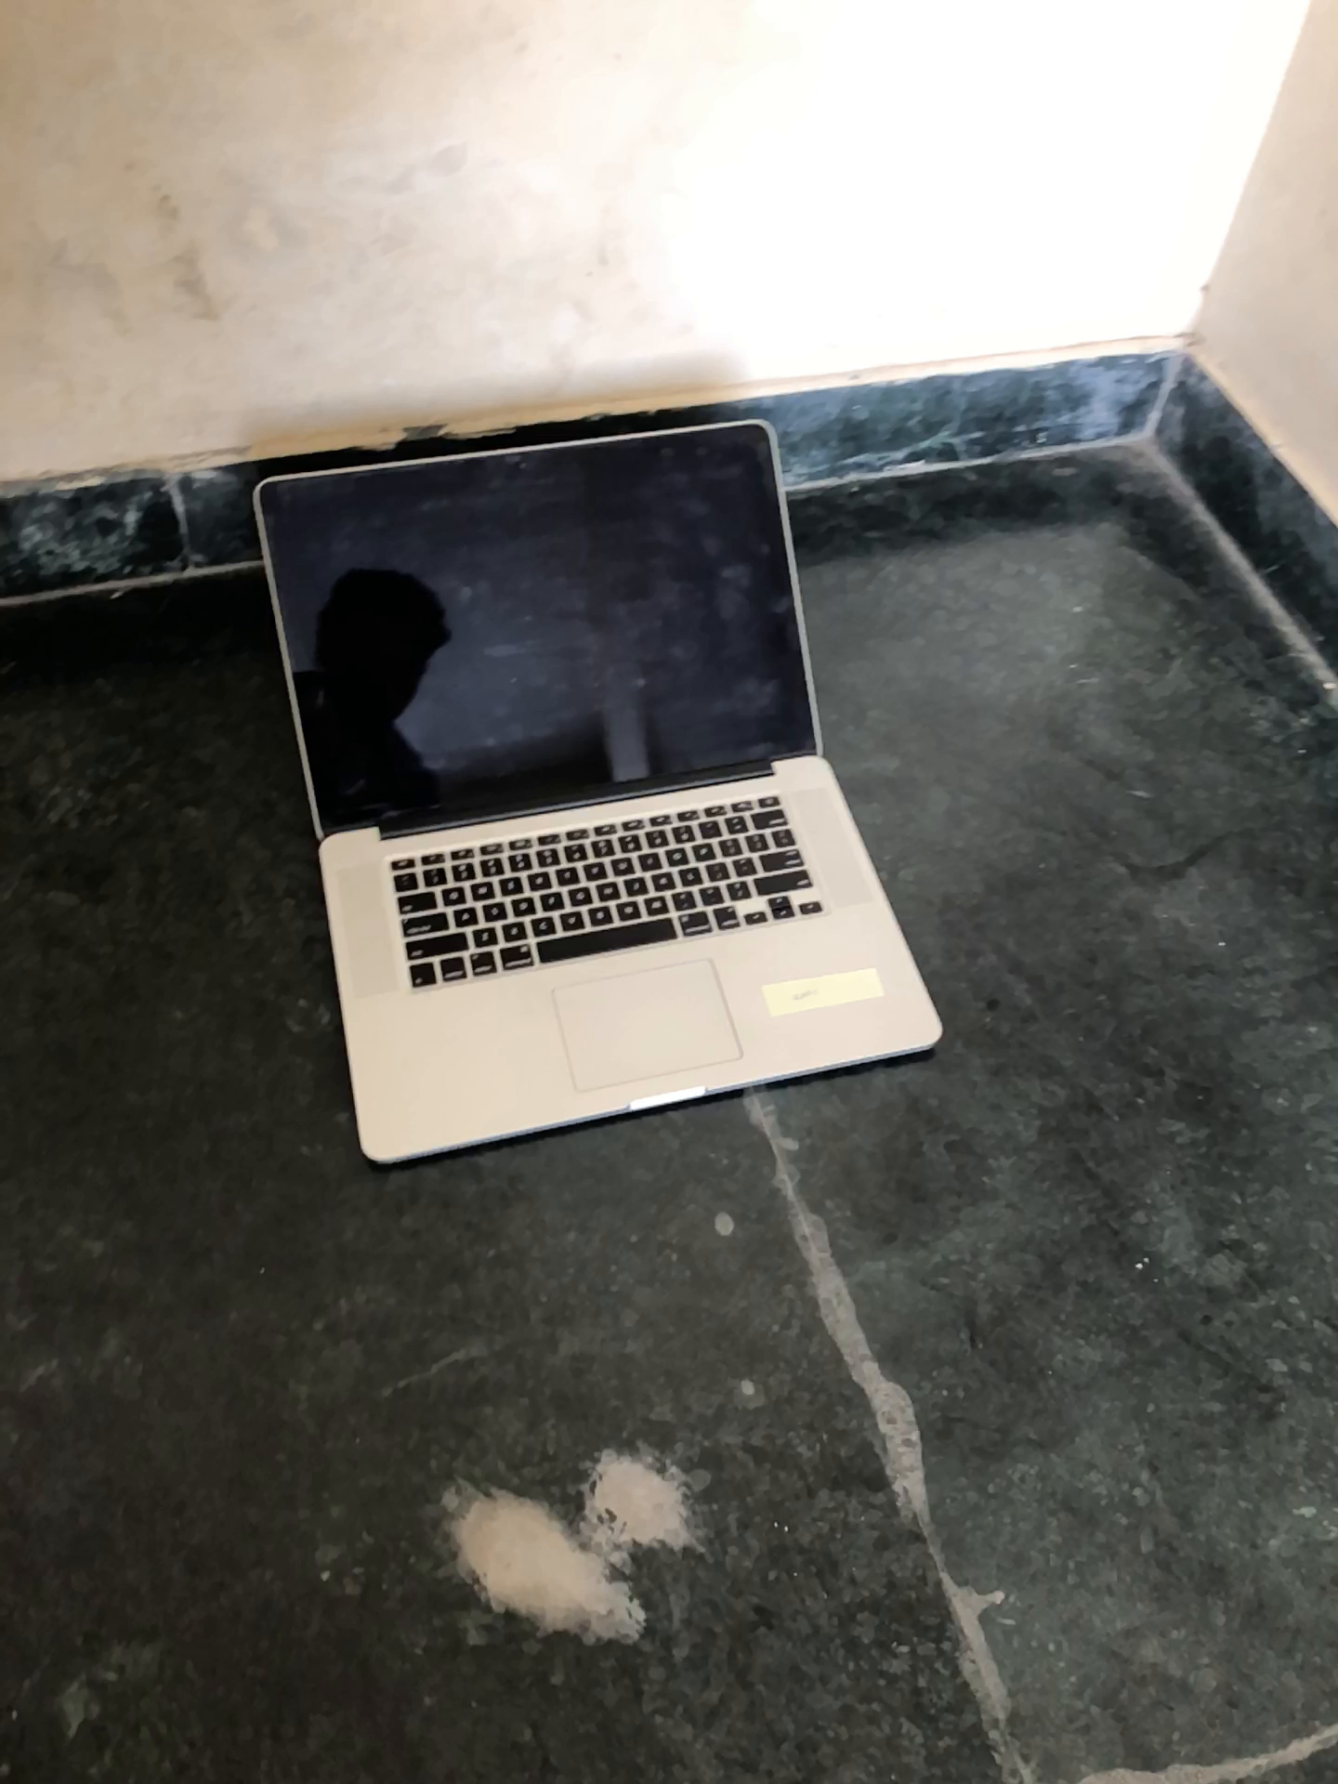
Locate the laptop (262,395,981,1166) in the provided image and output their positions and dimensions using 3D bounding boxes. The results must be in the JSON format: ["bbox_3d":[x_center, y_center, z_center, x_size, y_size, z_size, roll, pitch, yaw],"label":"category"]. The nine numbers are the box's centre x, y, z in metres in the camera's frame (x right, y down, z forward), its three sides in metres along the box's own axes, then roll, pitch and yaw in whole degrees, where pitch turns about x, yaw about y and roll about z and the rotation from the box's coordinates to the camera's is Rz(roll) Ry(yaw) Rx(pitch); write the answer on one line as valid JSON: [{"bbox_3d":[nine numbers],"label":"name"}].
[{"bbox_3d":[-0.050,-0.097,0.928,0.343,0.130,0.434,-10,58,-12],"label":"laptop"}]
